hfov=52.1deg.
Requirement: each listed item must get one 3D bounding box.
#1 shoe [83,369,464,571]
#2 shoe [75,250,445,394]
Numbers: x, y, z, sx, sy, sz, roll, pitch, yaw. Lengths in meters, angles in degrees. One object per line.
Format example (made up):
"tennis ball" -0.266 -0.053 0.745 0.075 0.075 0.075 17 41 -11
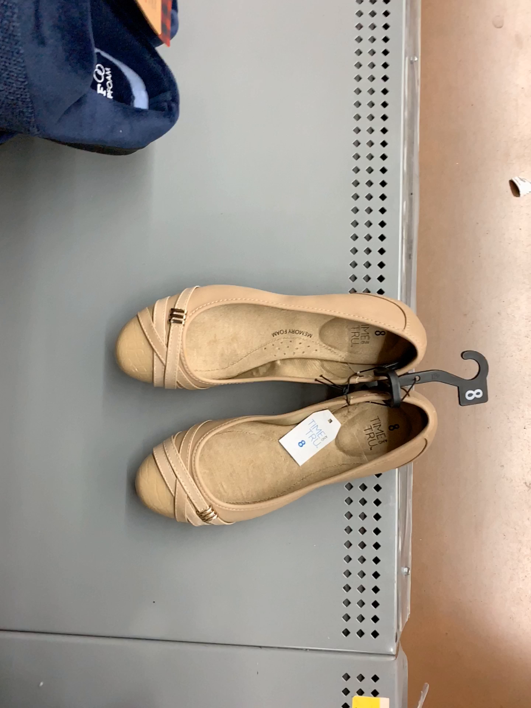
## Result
"shoe" 0.005 0.093 0.469 0.280 0.100 0.100 -12 85 3
"shoe" -0.005 -0.020 0.465 0.280 0.100 0.100 -2 86 3
